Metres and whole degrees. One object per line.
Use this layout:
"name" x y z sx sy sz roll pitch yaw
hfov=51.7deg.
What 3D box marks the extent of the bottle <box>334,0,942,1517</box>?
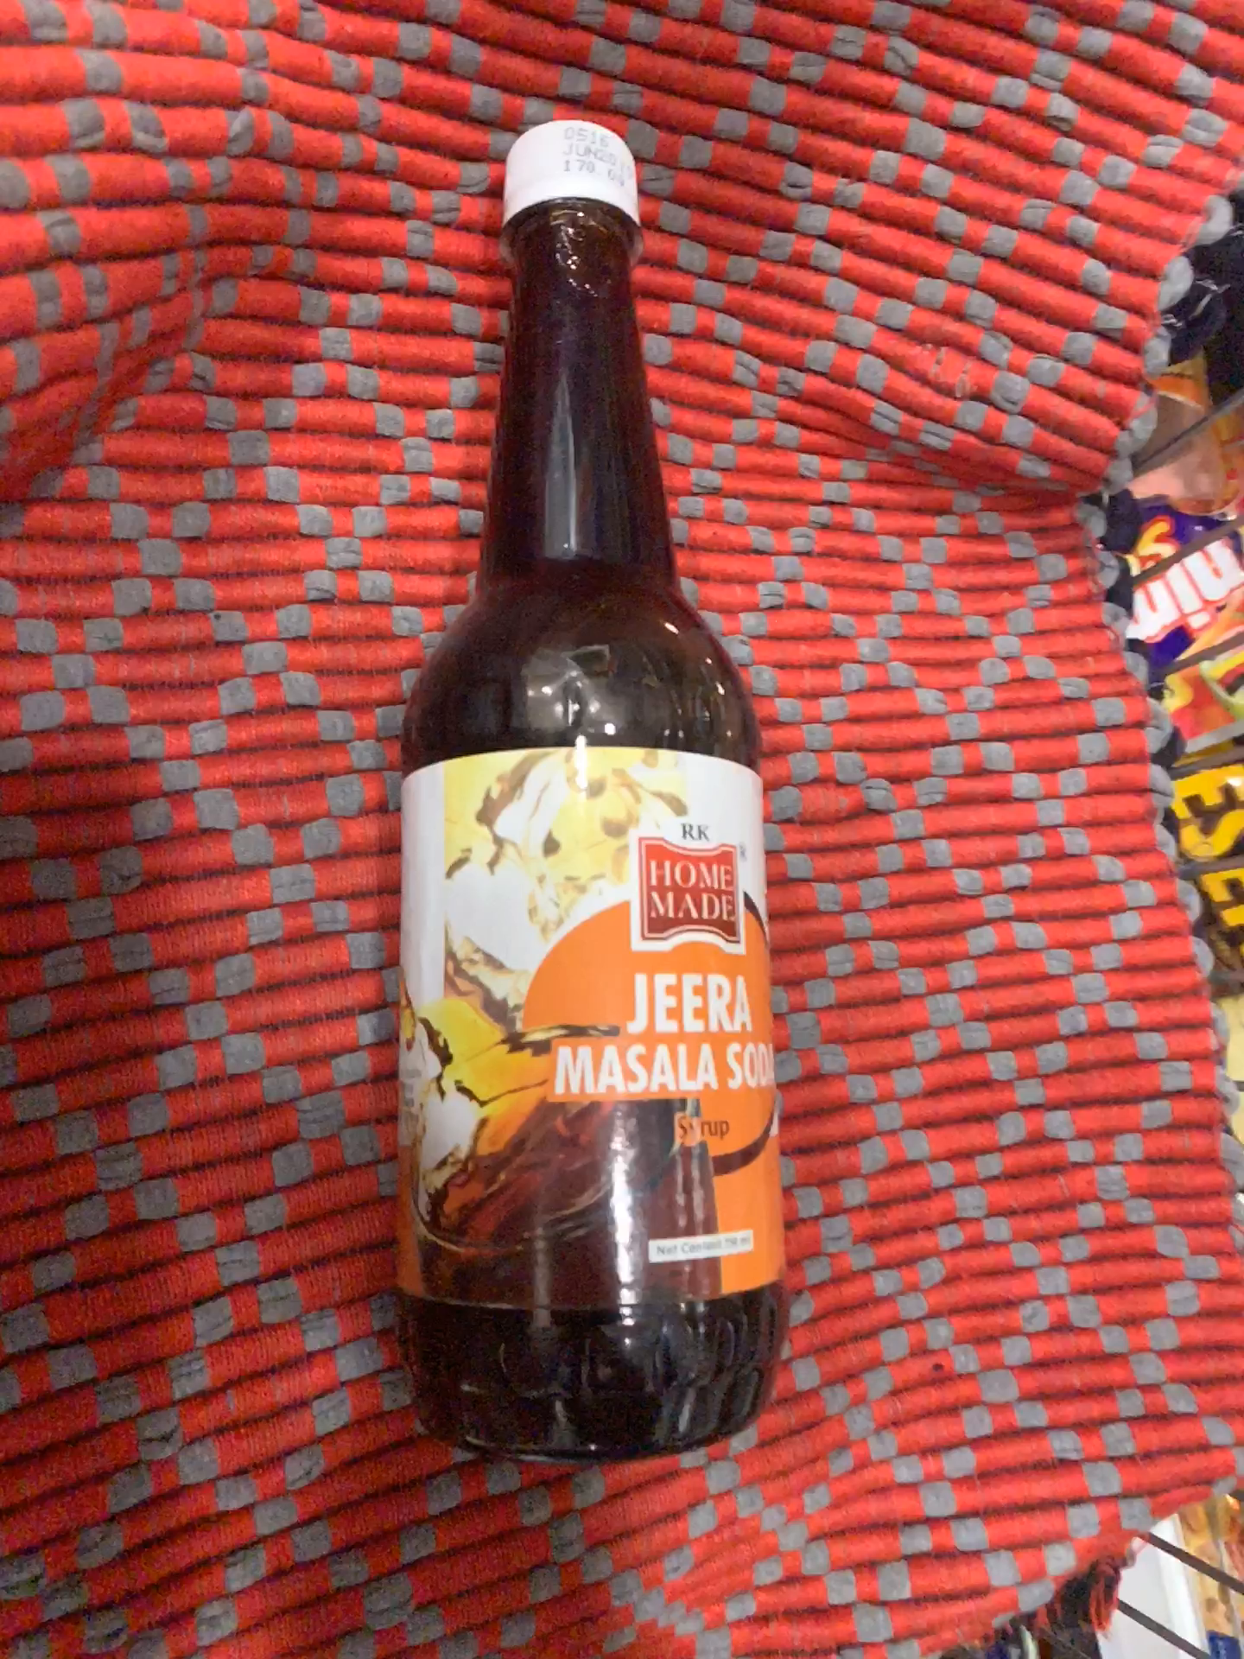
"bottle" -0.004 -0.023 0.253 0.080 0.070 0.260 7 74 -35
